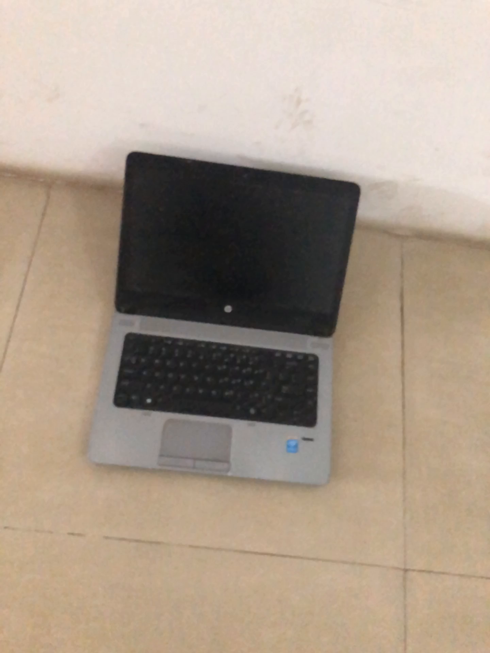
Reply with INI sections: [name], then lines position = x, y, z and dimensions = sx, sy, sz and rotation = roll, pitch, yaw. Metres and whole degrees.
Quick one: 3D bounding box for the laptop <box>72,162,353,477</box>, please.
[laptop]
position = -0.028, -0.009, 0.759
dimensions = 0.318, 0.146, 0.386
rotation = 7, 66, -5
